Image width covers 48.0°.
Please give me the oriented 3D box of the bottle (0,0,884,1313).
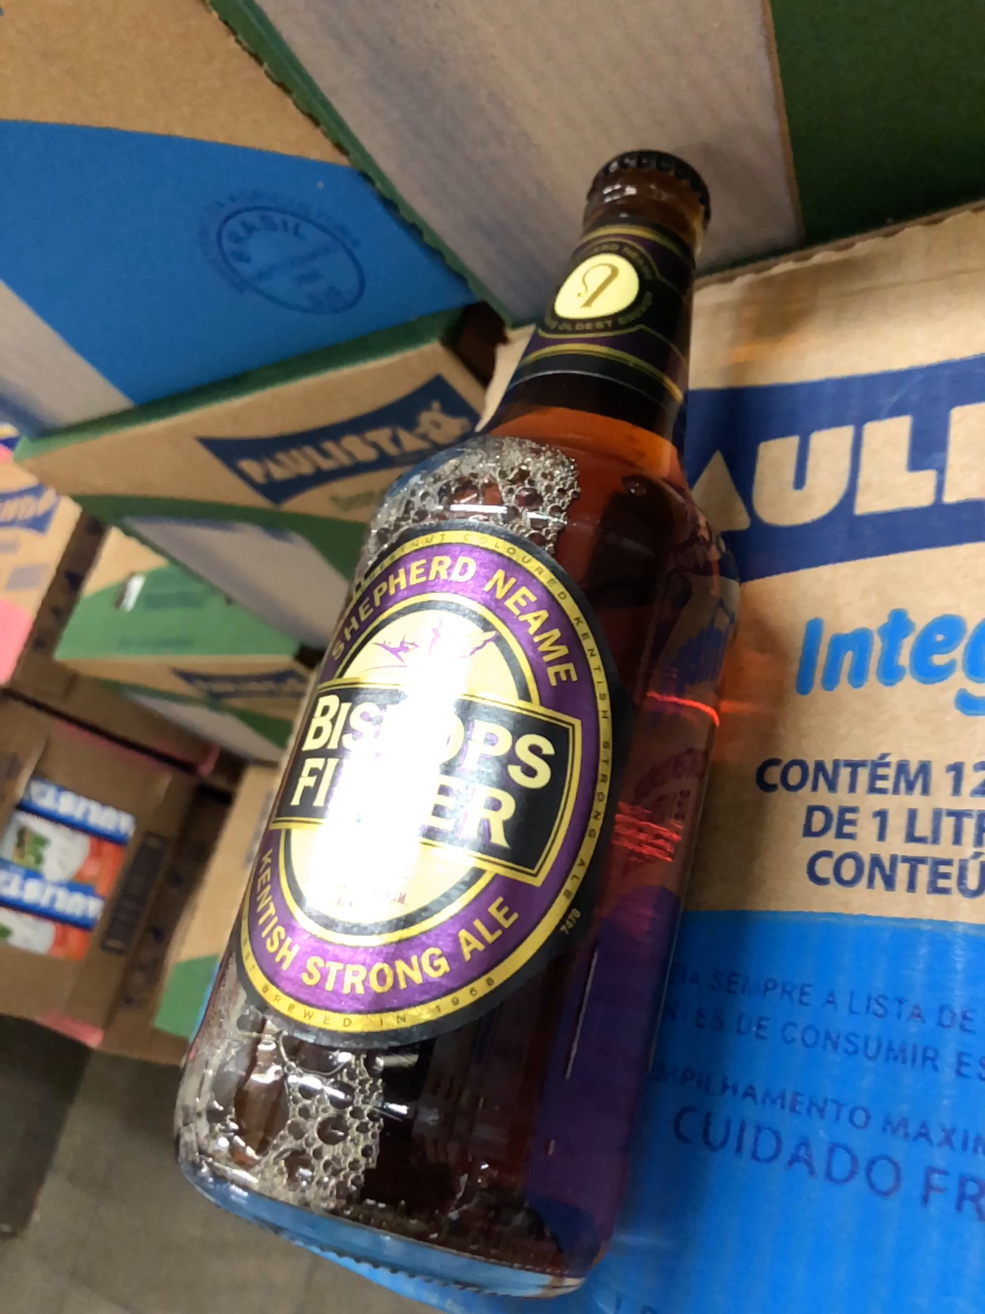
[{"bbox_3d":[0.004,-0.020,0.210,0.080,0.070,0.250,-1,63,40],"label":"bottle"}]
